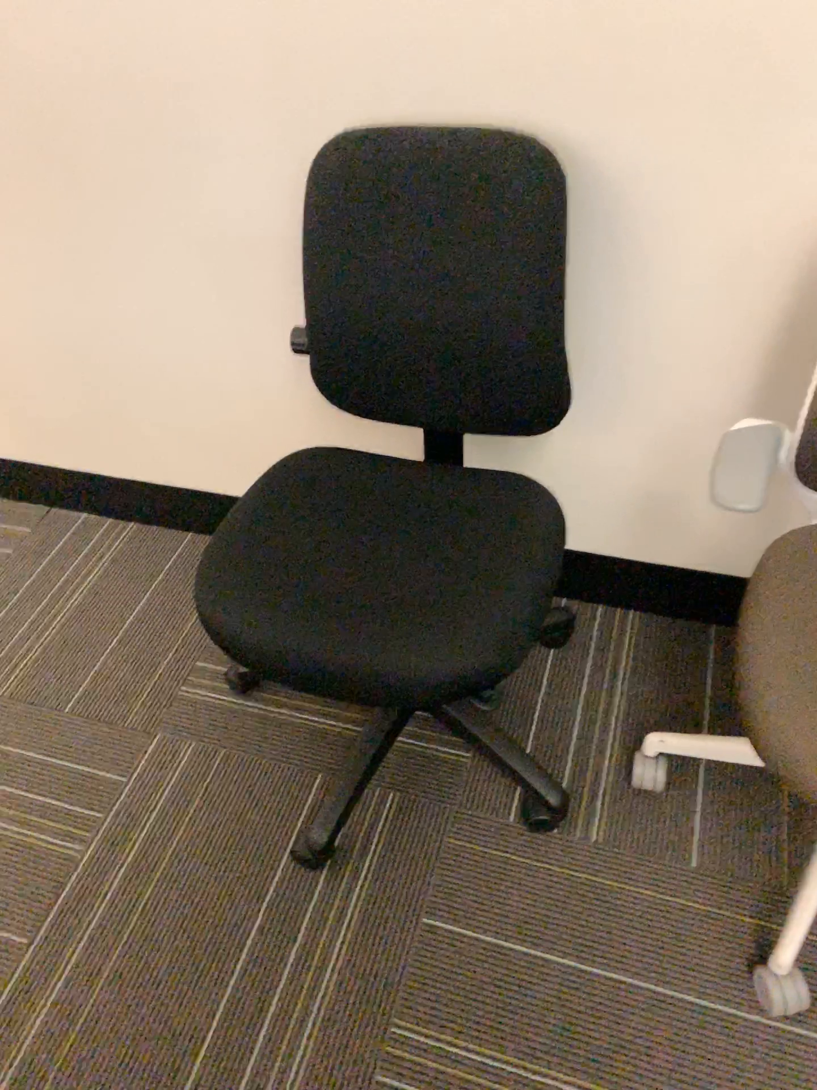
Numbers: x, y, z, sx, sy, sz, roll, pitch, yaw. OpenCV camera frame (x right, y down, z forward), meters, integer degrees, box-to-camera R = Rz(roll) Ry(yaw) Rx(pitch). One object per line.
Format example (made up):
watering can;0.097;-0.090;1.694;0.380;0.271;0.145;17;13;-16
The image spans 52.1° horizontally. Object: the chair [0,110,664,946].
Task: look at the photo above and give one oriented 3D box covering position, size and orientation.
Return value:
chair;-0.041;-0.023;1.317;0.681;0.994;0.743;8;46;15
